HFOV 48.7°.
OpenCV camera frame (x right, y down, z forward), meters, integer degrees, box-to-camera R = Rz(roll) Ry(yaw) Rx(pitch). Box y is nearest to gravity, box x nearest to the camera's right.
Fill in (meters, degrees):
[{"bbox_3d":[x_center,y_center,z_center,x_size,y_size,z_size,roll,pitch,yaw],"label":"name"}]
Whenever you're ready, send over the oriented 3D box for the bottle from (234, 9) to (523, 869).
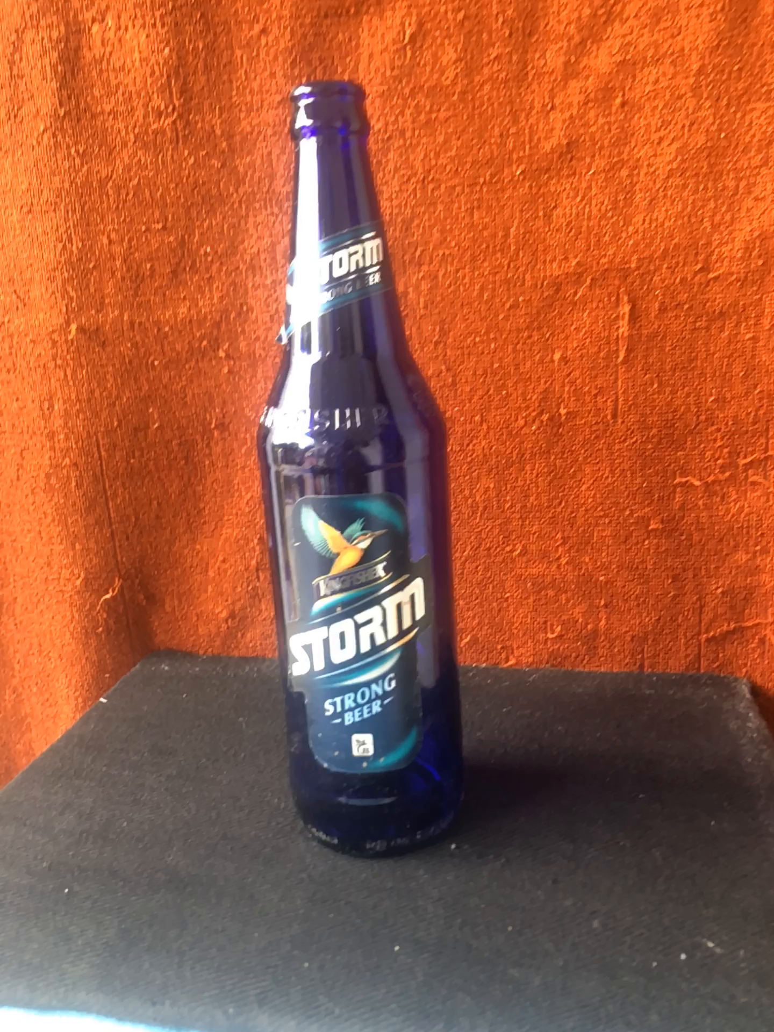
[{"bbox_3d":[0.004,-0.016,0.313,0.080,0.279,0.080,-2,16,1],"label":"bottle"}]
